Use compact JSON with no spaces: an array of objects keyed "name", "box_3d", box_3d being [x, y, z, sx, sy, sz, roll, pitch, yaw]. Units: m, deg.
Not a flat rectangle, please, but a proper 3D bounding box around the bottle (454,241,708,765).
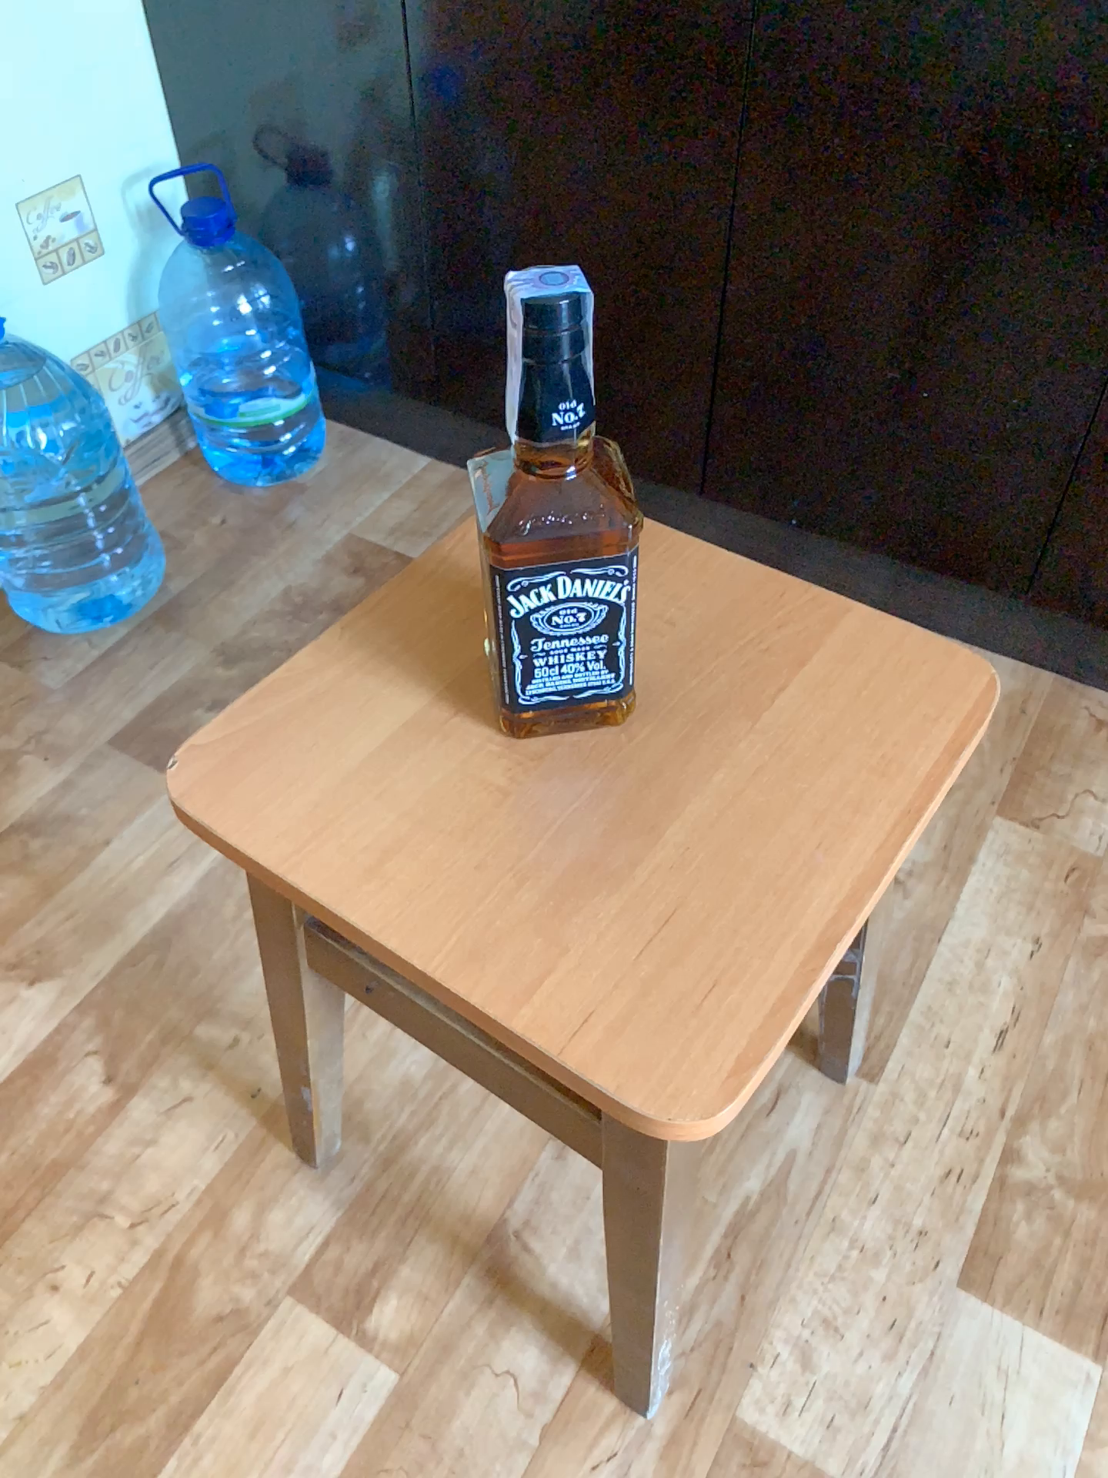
[{"name":"bottle","box_3d":[0.008,-0.093,0.499,0.080,0.209,0.080,0,47,0]}]
